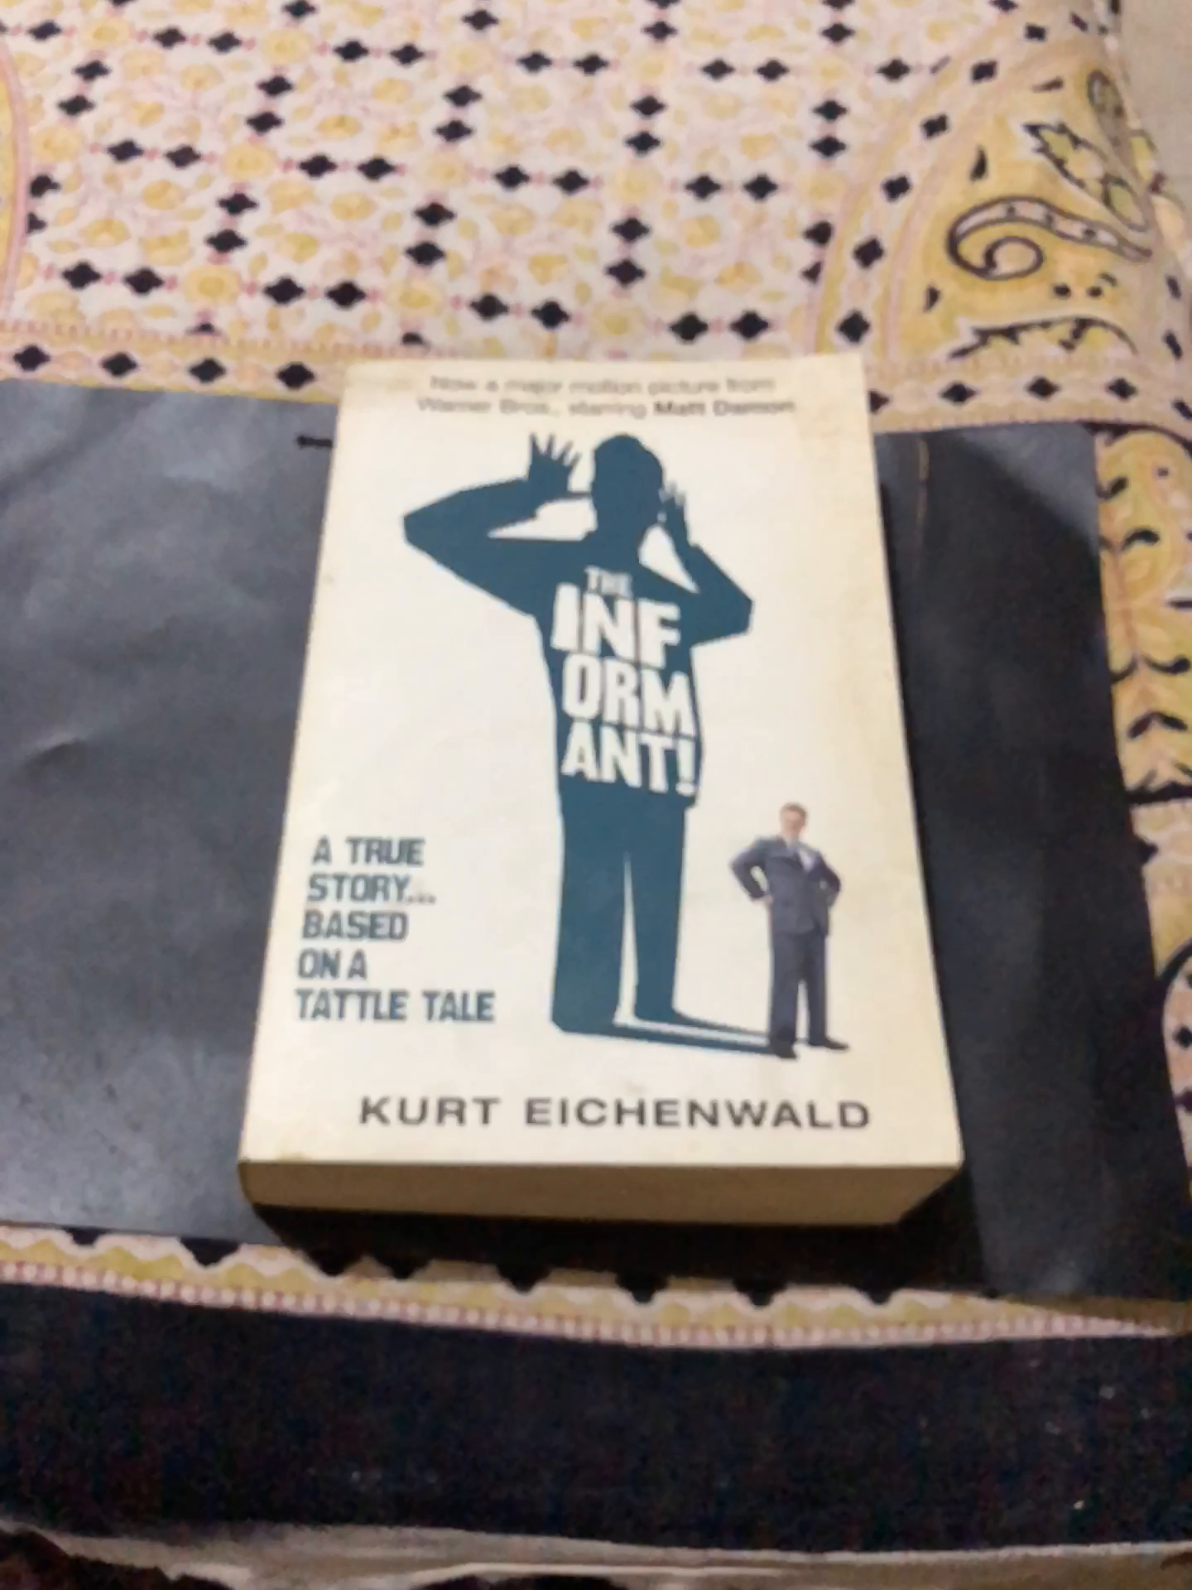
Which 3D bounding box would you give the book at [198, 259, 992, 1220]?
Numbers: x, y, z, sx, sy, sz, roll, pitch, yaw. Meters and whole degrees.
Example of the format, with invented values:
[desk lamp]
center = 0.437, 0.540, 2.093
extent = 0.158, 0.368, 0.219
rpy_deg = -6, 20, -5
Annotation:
[book]
center = 0.001, -0.025, 0.316
extent = 0.140, 0.050, 0.230
rpy_deg = 1, 60, -1
